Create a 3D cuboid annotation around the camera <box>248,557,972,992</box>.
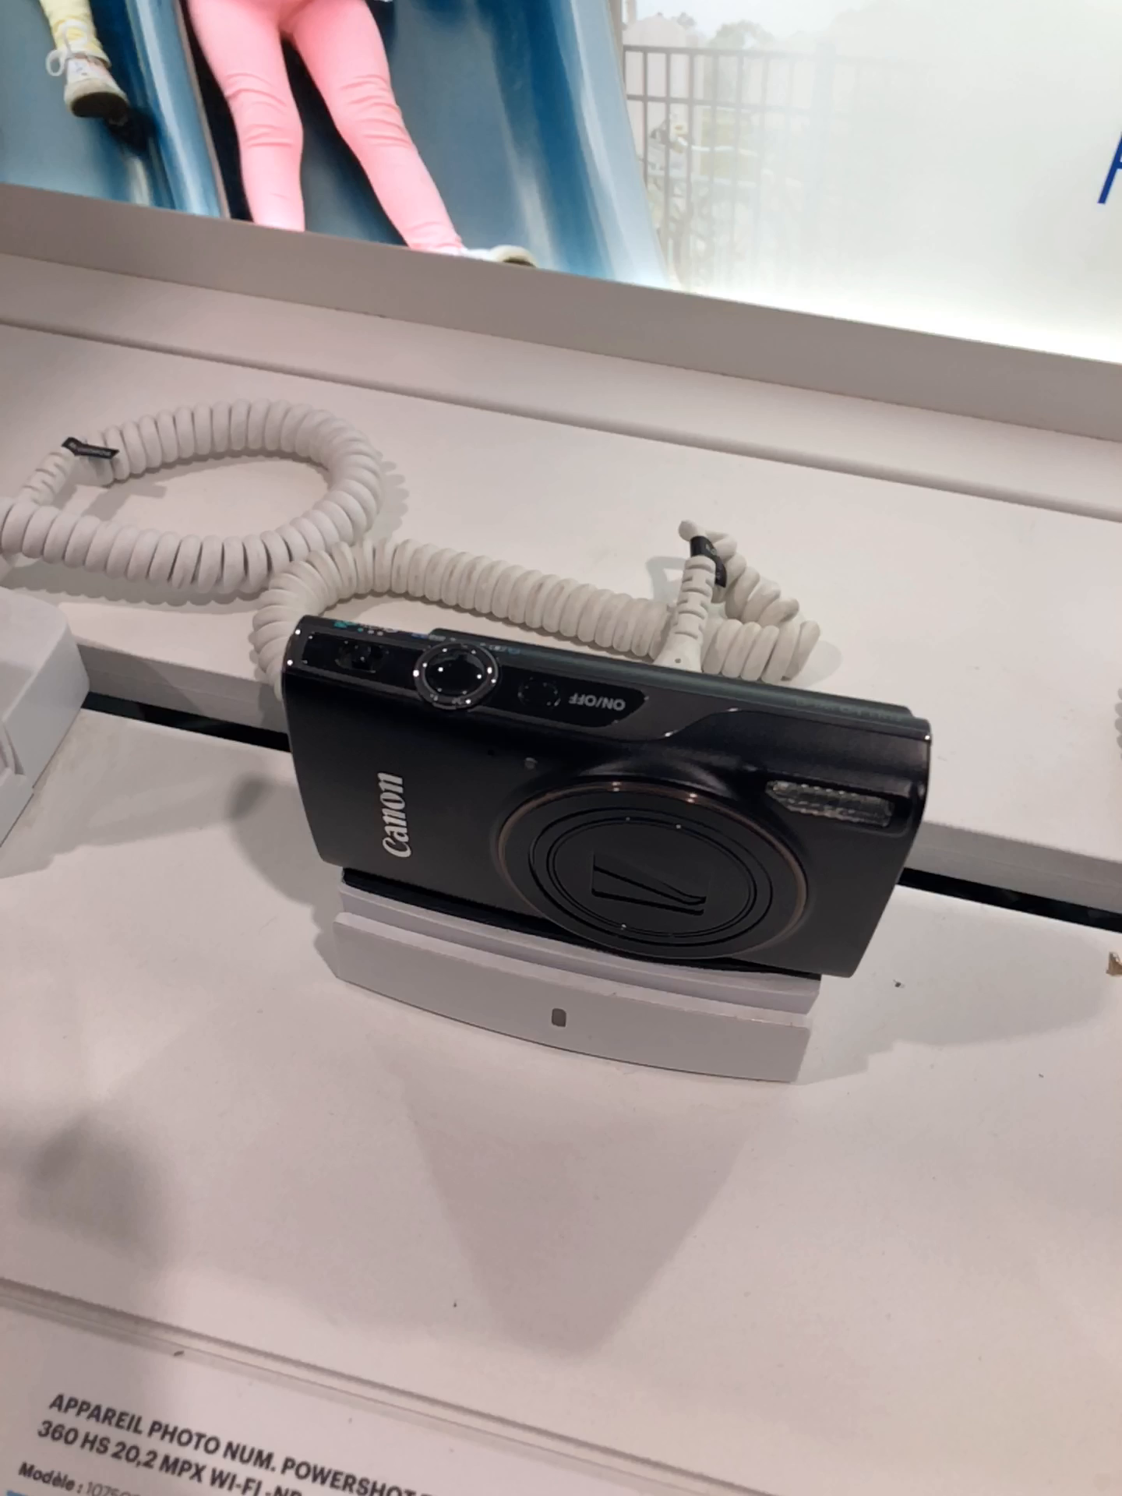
[{"bbox_3d":[0.007,0.006,0.221,0.113,0.057,0.026,10,48,7],"label":"camera"}]
